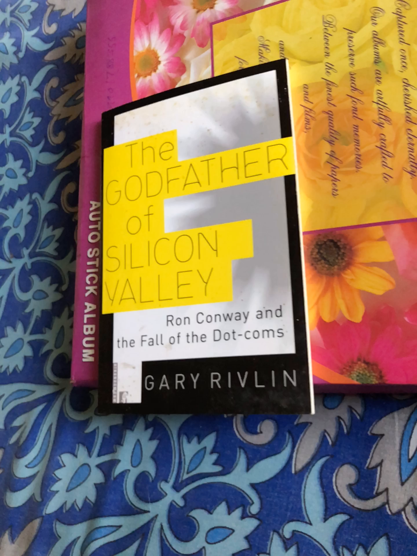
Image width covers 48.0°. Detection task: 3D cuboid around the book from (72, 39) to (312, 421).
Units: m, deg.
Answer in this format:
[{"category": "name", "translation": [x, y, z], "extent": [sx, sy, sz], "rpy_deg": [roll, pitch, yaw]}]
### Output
[{"category": "book", "translation": [-0.019, -0.025, 0.299], "extent": [0.150, 0.020, 0.220], "rpy_deg": [-6, 80, 23]}]
